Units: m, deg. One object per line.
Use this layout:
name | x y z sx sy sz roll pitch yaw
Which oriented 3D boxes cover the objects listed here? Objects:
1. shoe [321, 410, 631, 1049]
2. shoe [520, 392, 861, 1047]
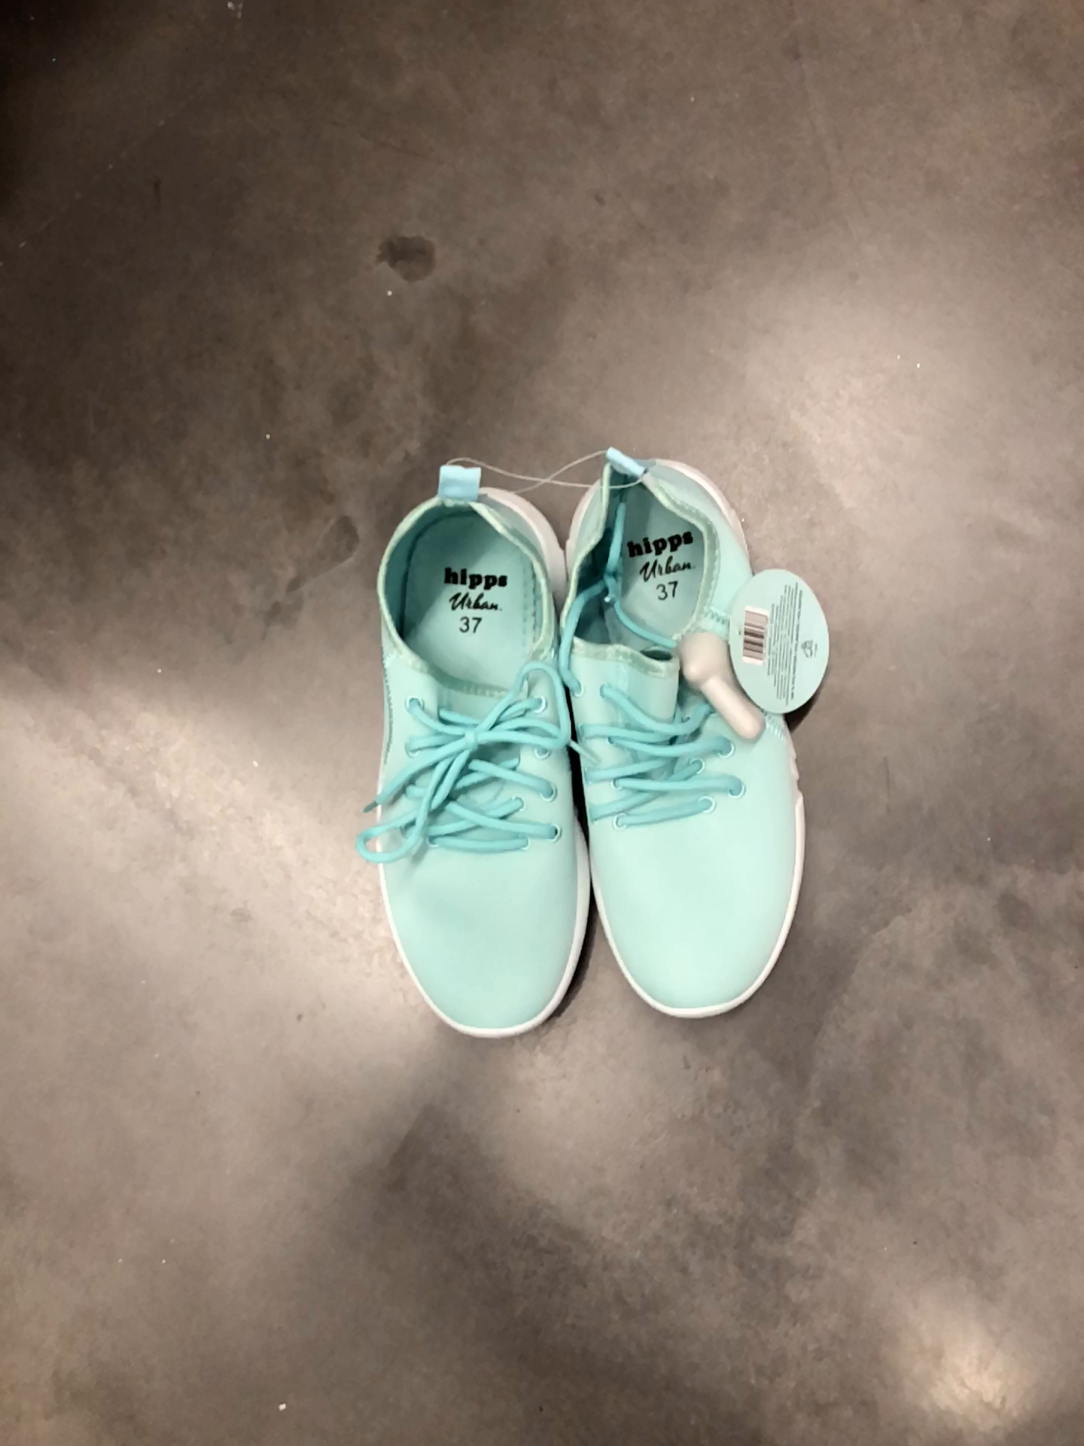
shoe | -0.023 0.006 0.489 0.100 0.100 0.230 -4 83 6
shoe | 0.057 0.002 0.483 0.100 0.100 0.230 -6 83 6
